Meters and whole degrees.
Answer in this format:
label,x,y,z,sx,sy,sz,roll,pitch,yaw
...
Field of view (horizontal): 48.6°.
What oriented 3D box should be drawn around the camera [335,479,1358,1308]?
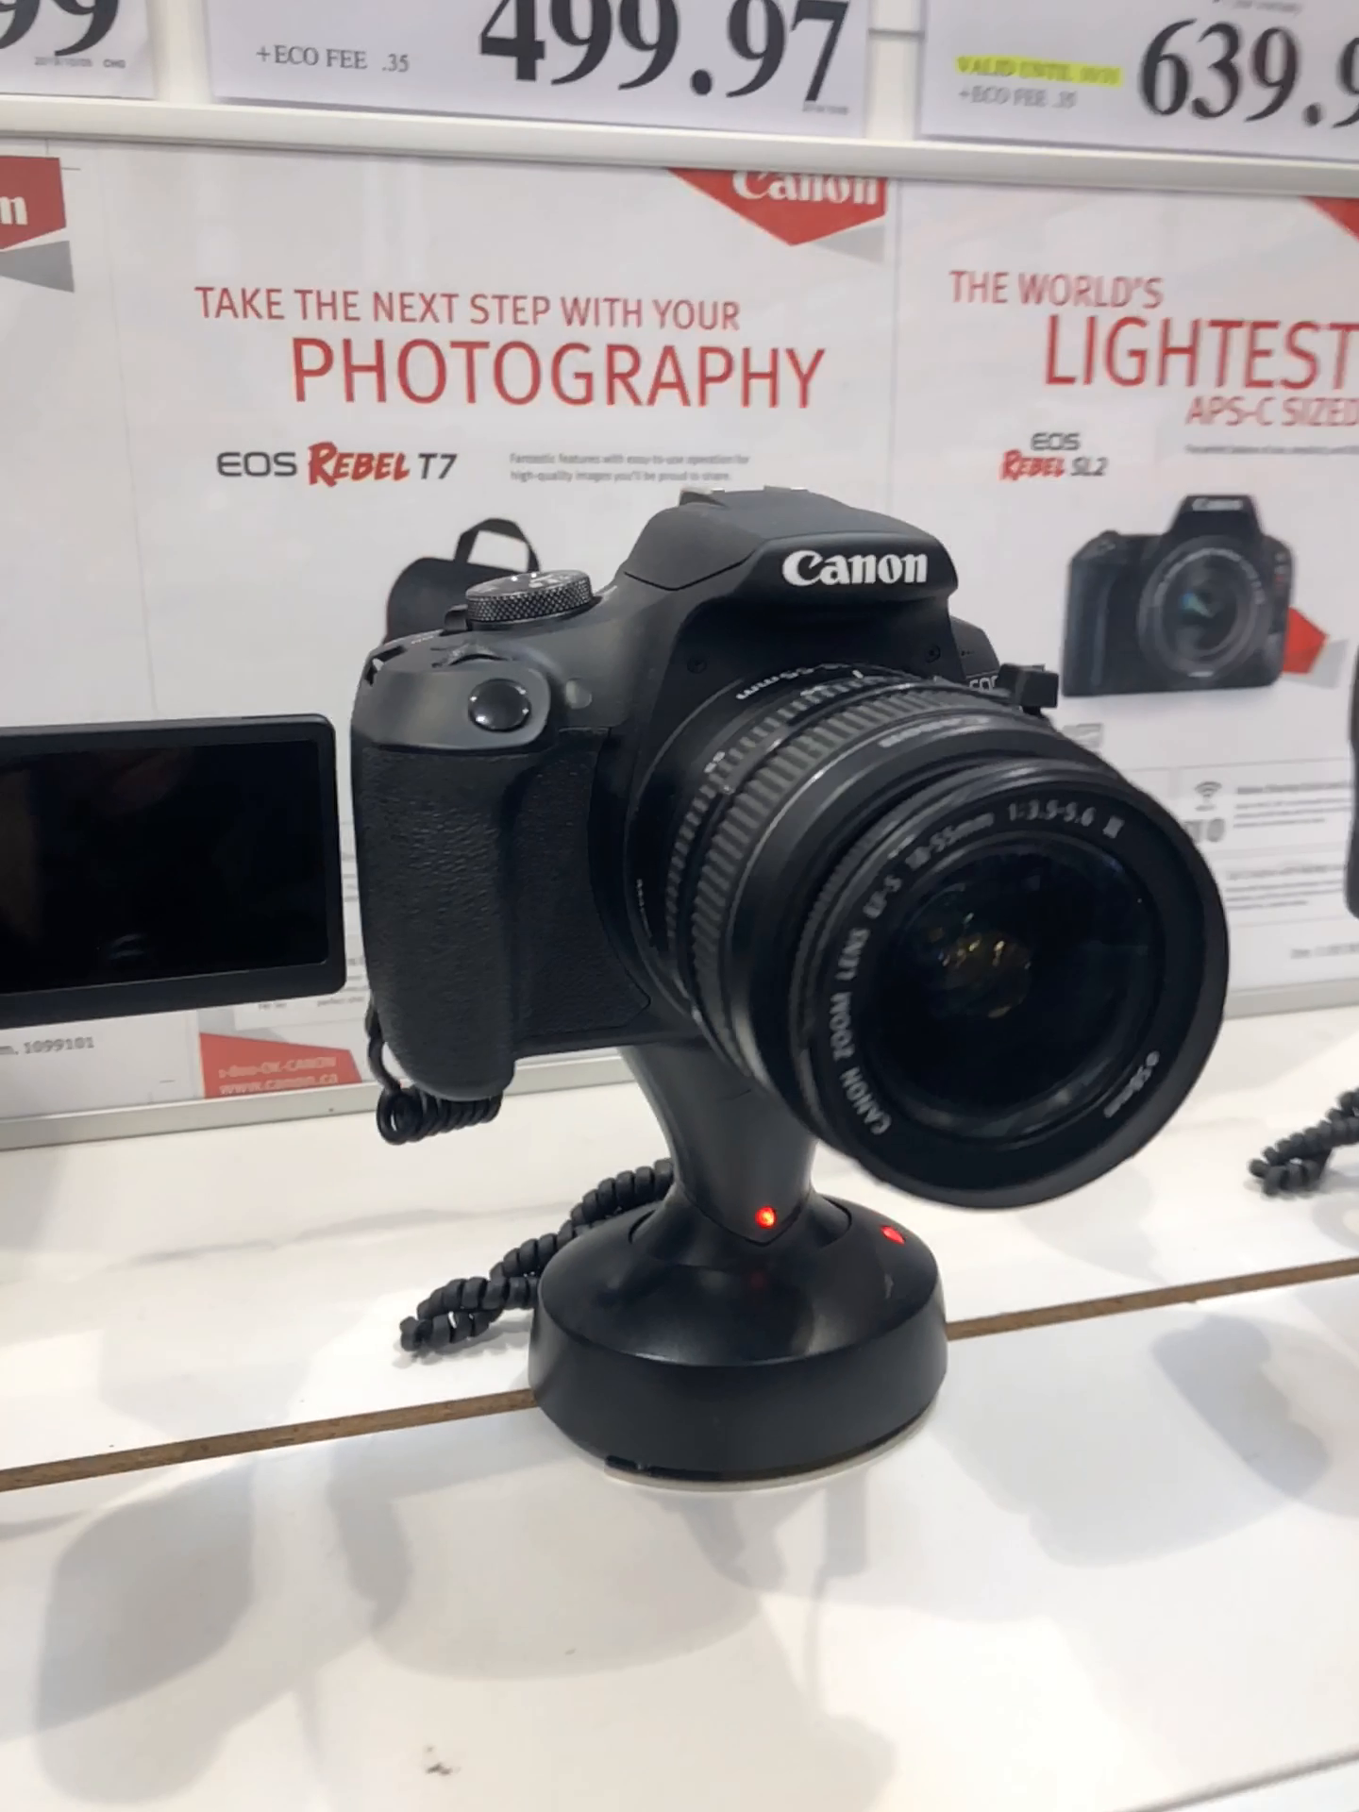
label,x,y,z,sx,sy,sz,roll,pitch,yaw
camera,0.011,-0.020,0.262,0.130,0.100,0.141,-4,18,-13
